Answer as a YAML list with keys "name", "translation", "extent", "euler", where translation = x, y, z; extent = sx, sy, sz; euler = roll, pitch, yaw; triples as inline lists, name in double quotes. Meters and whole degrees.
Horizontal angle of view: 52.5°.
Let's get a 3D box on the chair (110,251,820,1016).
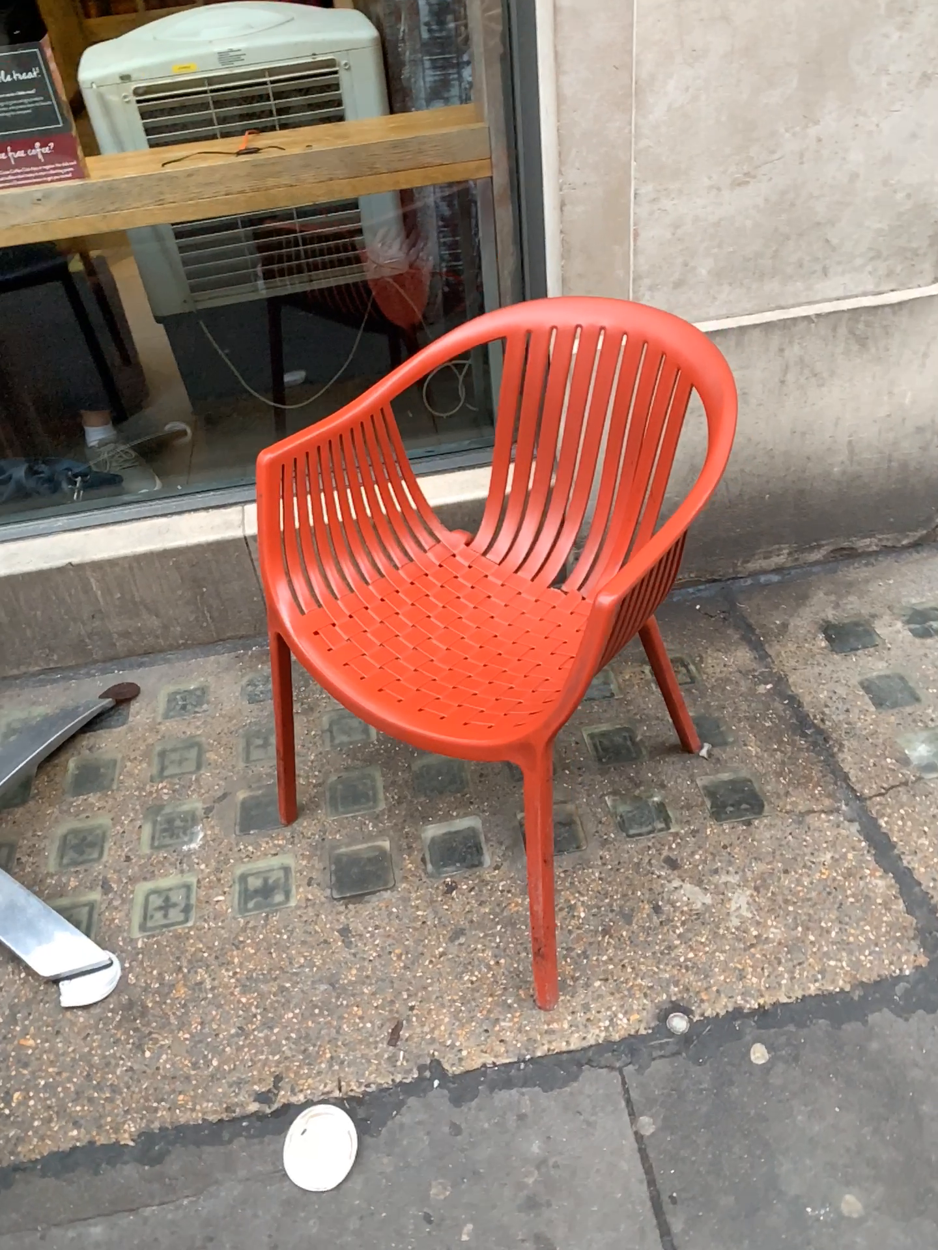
- name: "chair"
  translation: [0.035, -0.031, 1.331]
  extent: [0.583, 0.693, 0.613]
  euler: [23, 48, 31]
